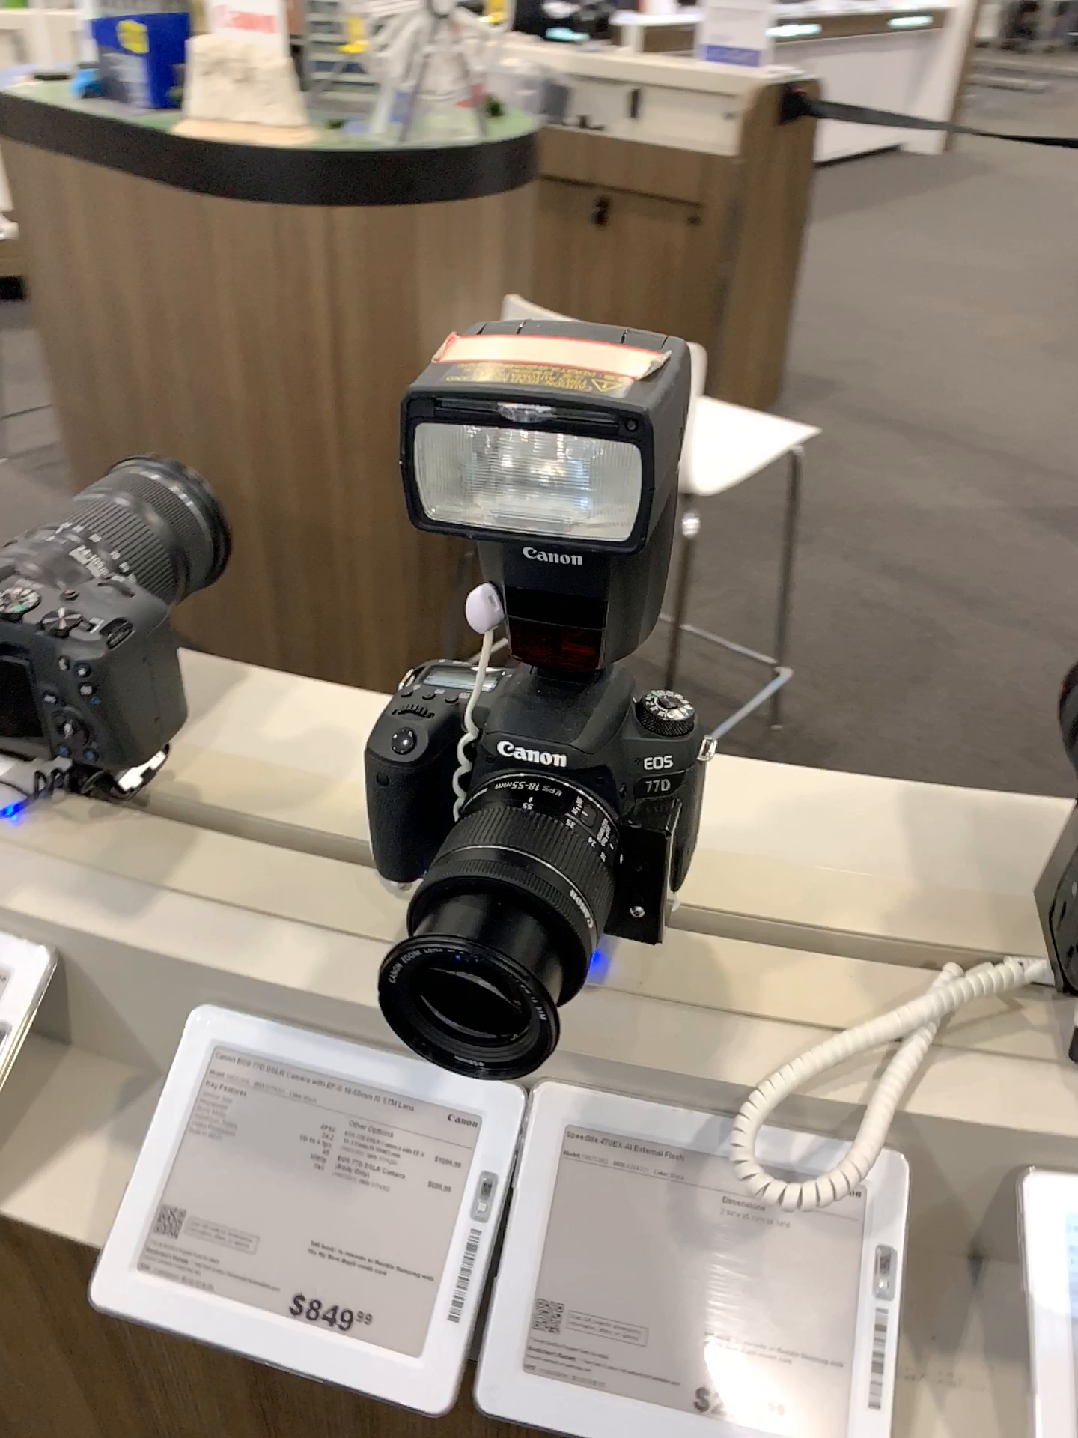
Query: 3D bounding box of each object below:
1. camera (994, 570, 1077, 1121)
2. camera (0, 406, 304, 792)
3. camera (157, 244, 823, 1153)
[{"bbox_3d":[0.272,0.038,0.428,0.140,0.103,0.166,10,37,9],"label":"camera"},{"bbox_3d":[-0.224,-0.069,0.561,0.140,0.103,0.166,12,38,12],"label":"camera"},{"bbox_3d":[-0.003,-0.013,0.384,0.140,0.232,0.177,12,38,12],"label":"camera"}]
